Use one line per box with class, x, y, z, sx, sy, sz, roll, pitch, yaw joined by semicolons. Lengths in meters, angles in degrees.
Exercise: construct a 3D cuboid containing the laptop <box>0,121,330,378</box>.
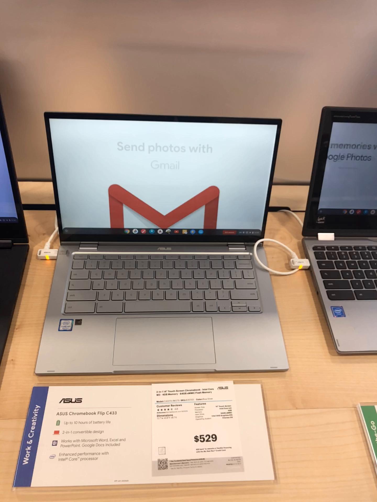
laptop;-0.028;-0.013;0.542;0.309;0.174;0.283;0;50;-4
